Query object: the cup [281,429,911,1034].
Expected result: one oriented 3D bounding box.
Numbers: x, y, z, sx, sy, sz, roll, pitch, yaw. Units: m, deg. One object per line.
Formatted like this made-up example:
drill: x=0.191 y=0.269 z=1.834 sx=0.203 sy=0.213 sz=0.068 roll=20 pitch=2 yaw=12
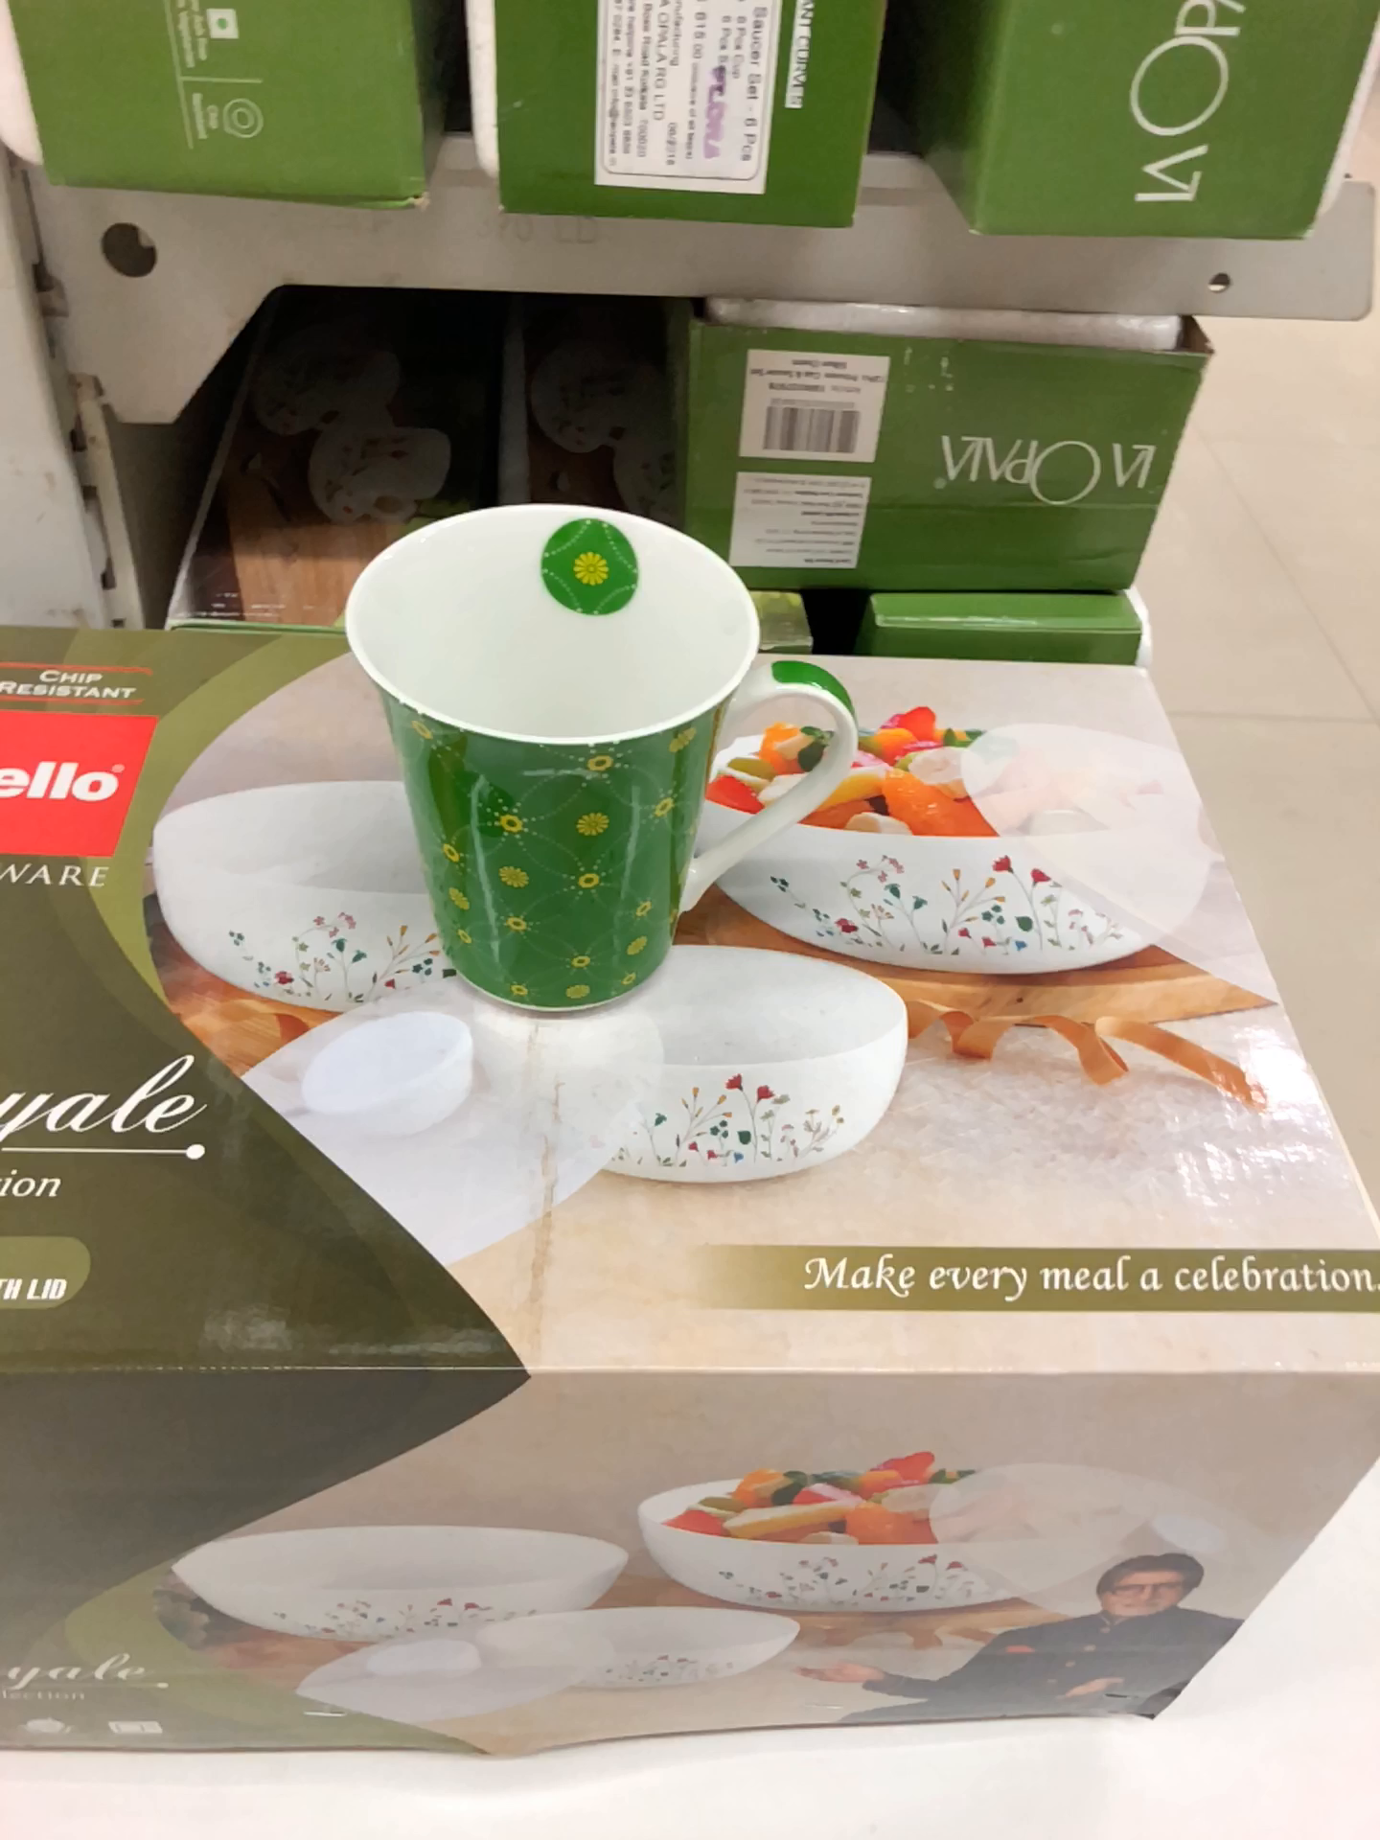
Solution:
cup: x=-0.021 y=-0.040 z=0.330 sx=0.110 sy=0.089 sz=0.091 roll=2 pitch=43 yaw=-5
